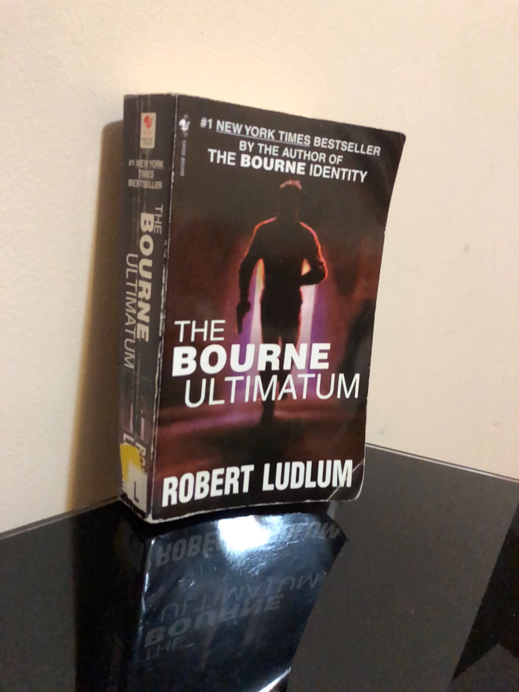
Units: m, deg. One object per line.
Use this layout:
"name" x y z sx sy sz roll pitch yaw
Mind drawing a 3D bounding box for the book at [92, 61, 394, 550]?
"book" -0.010 -0.019 0.282 0.120 0.190 0.070 -5 13 -31
